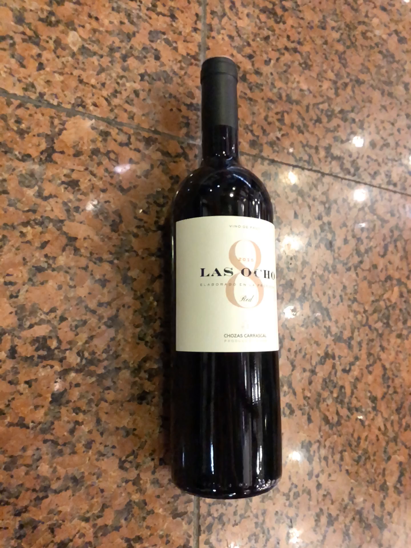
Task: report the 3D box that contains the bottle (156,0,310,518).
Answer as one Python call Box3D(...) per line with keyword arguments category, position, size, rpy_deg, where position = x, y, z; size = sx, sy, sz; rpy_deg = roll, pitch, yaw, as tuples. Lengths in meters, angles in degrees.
Box3D(category="bottle", position=(0.015, -0.023, 0.333), size=(0.080, 0.070, 0.340), rpy_deg=(3, 82, -30))
